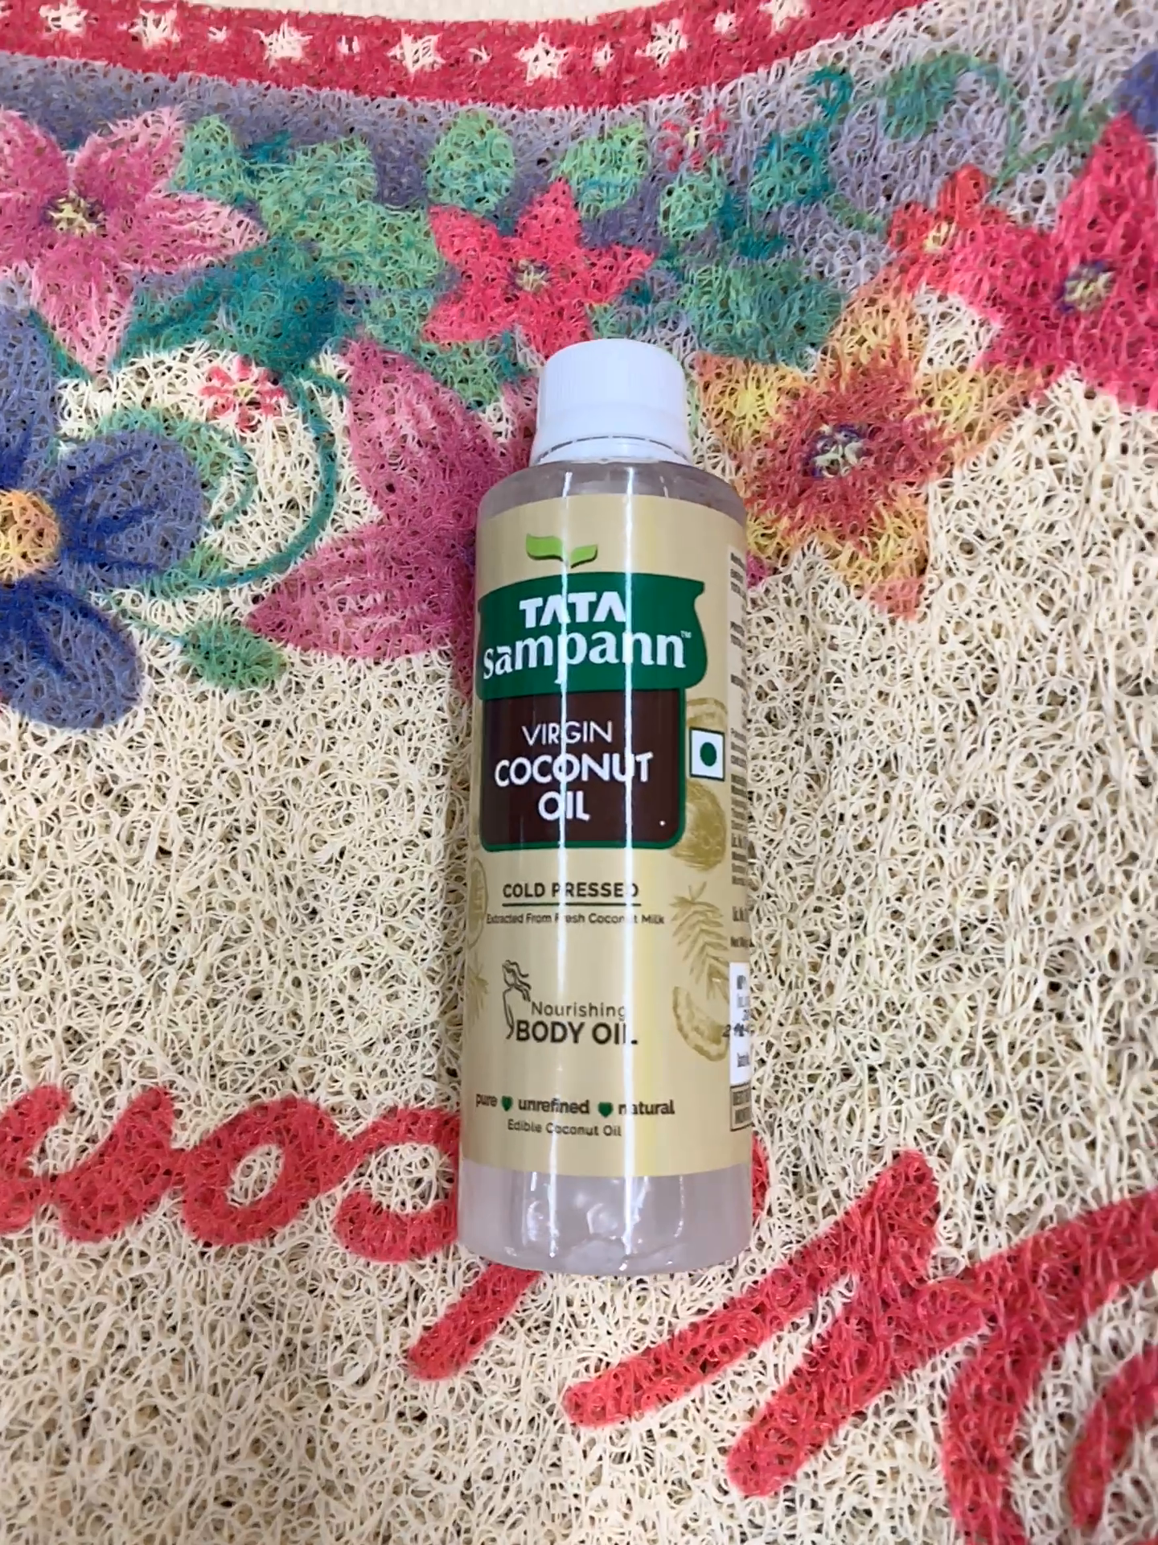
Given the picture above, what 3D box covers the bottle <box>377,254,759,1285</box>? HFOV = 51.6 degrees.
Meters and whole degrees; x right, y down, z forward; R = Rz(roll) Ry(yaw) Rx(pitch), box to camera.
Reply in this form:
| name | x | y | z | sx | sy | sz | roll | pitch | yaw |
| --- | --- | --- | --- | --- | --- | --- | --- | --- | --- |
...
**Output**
| name | x | y | z | sx | sy | sz | roll | pitch | yaw |
| --- | --- | --- | --- | --- | --- | --- | --- | --- | --- |
| bottle | 0.002 | -0.002 | 0.180 | 0.050 | 0.030 | 0.140 | 0 | 82 | 9 |
